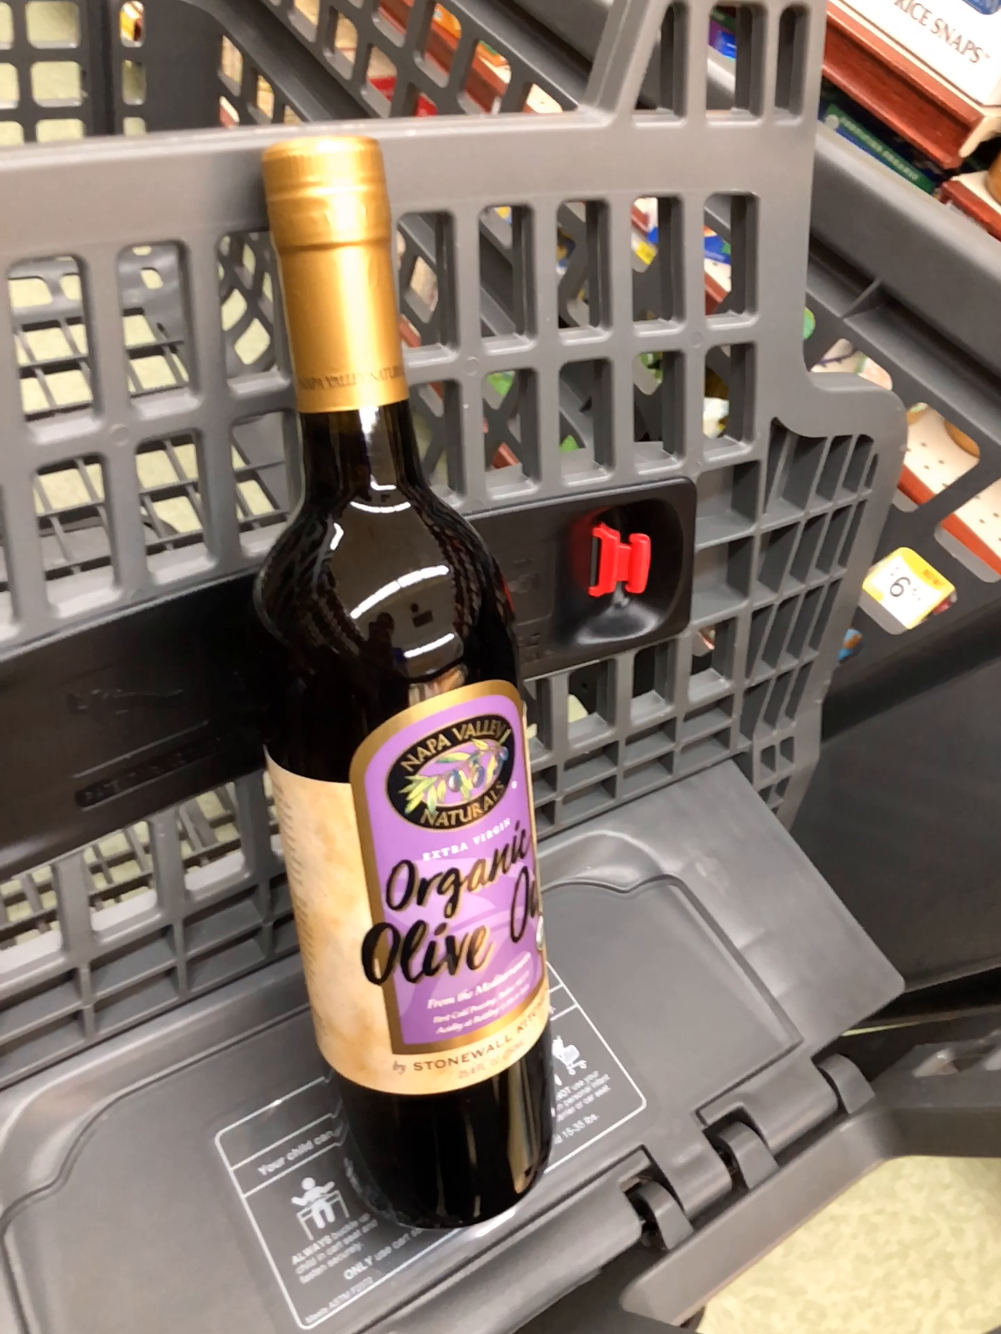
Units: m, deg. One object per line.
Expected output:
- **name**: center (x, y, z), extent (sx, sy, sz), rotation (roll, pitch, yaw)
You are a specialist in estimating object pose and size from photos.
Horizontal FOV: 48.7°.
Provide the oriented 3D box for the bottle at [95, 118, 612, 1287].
- **bottle**: center (-0.032, 0.017, 0.314), extent (0.080, 0.300, 0.080), rotation (-5, 21, 2)
